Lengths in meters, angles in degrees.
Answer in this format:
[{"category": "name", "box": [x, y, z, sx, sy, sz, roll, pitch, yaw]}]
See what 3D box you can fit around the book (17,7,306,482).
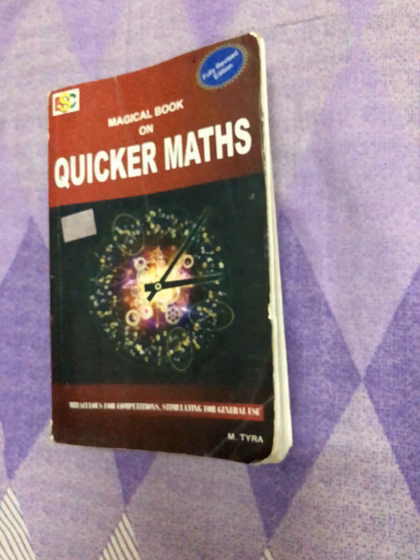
[{"category": "book", "box": [-0.033, -0.014, 0.268, 0.150, 0.050, 0.220, -5, 84, 22]}]
